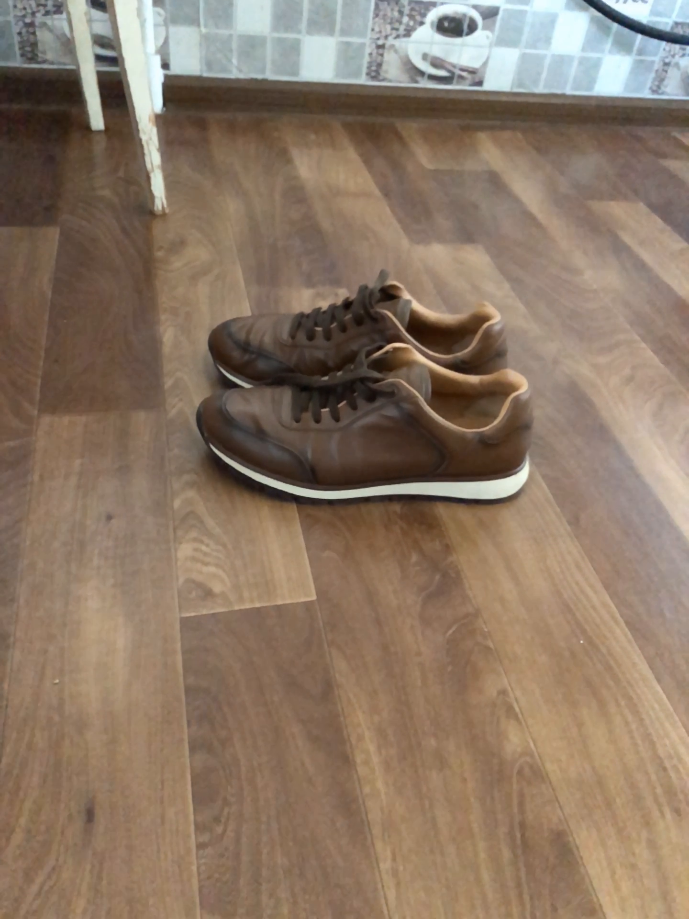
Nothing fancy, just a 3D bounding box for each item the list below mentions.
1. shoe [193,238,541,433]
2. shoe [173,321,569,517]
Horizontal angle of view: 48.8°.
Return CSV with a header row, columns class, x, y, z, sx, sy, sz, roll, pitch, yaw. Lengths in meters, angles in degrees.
class,x,y,z,sx,sy,sz,roll,pitch,yaw
shoe,0.017,-0.111,0.675,0.280,0.089,0.111,7,42,-2
shoe,0.016,-0.031,0.599,0.280,0.089,0.101,4,42,-5
